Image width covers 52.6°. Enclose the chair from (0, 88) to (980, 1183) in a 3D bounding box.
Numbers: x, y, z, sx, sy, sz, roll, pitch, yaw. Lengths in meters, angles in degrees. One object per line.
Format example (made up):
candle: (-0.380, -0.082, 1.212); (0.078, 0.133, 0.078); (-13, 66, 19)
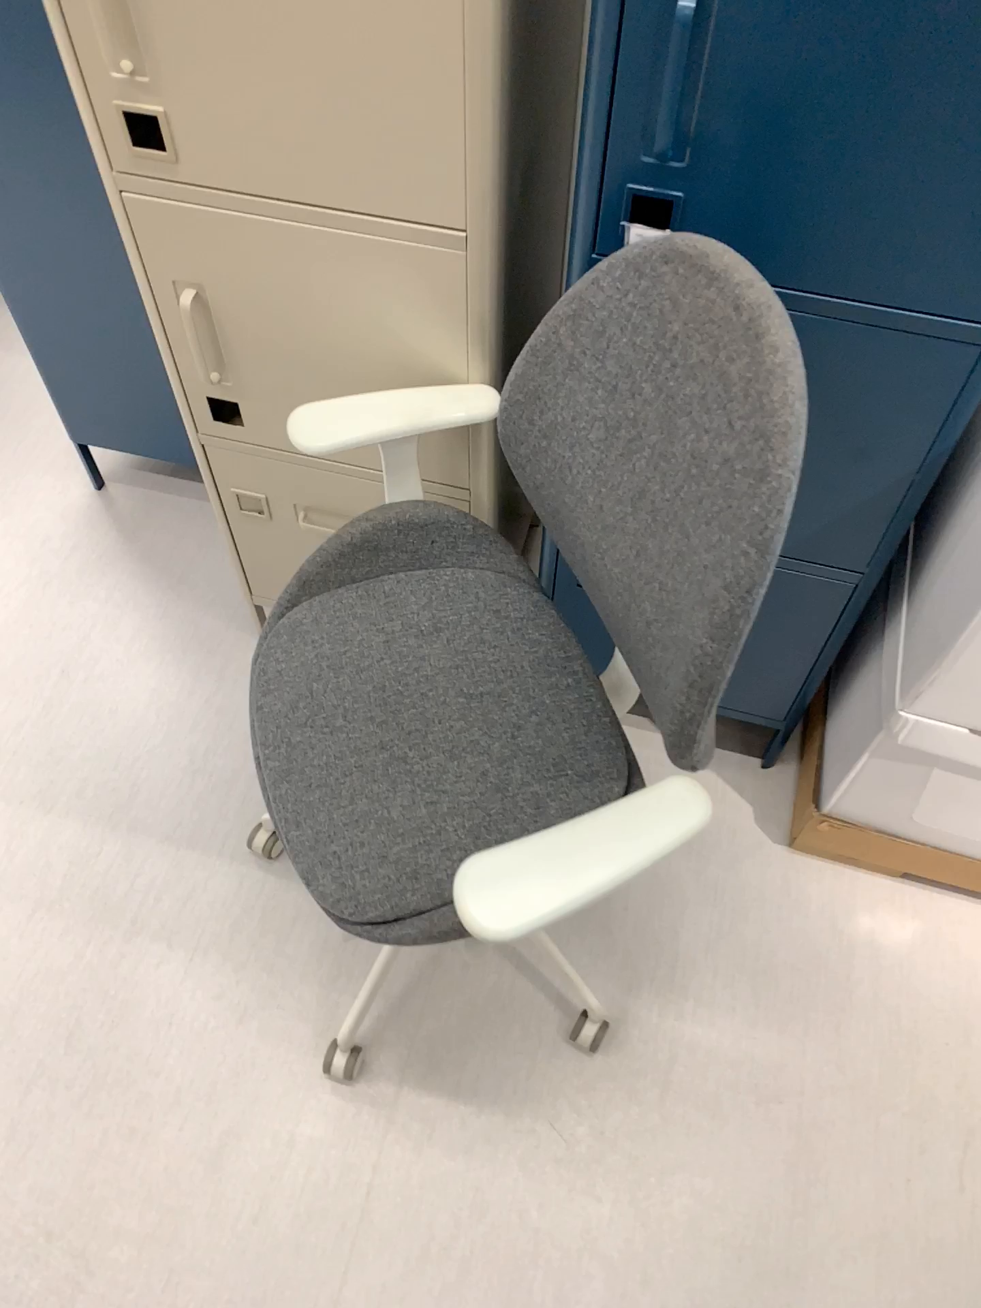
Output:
chair: (-0.037, 0.083, 1.134); (0.670, 0.998, 0.652); (-16, 59, -11)
